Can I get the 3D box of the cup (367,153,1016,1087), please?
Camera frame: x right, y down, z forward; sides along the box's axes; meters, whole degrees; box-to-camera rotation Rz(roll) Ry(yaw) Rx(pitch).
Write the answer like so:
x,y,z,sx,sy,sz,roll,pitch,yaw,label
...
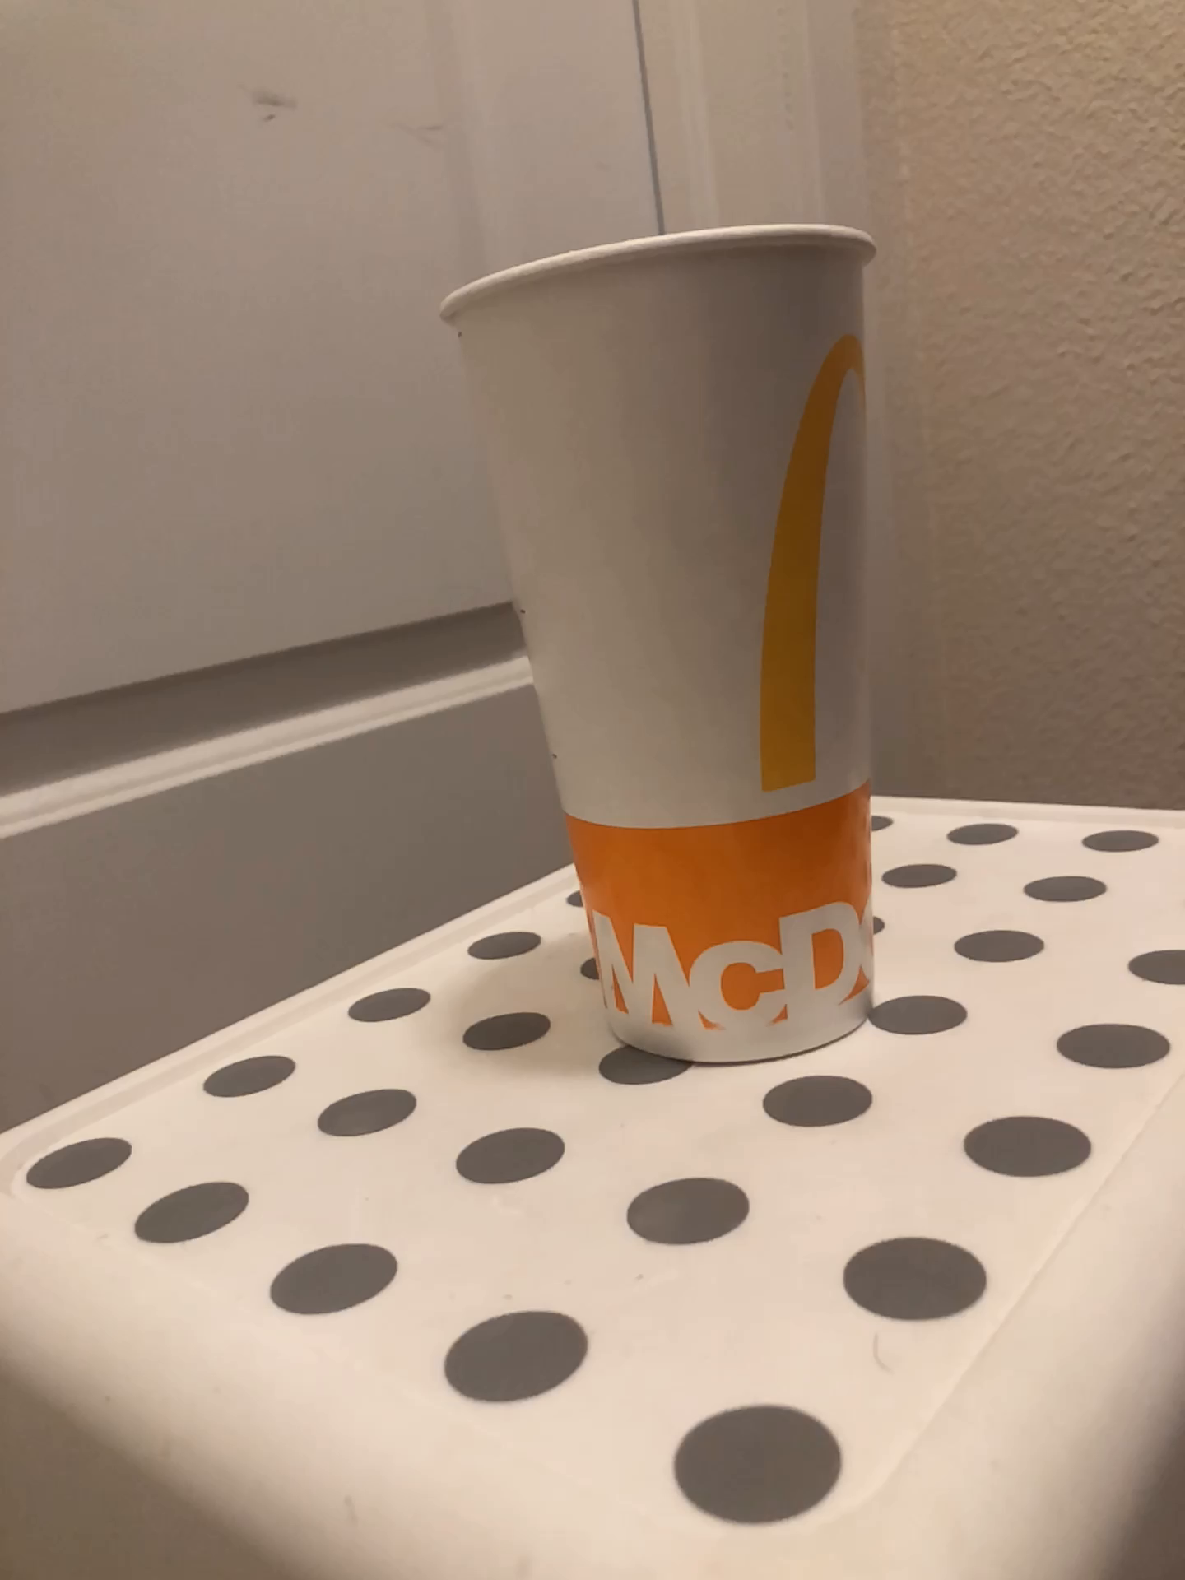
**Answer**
x,y,z,sx,sy,sz,roll,pitch,yaw,label
0.023,-0.035,0.284,0.099,0.155,0.100,-7,12,2,cup
